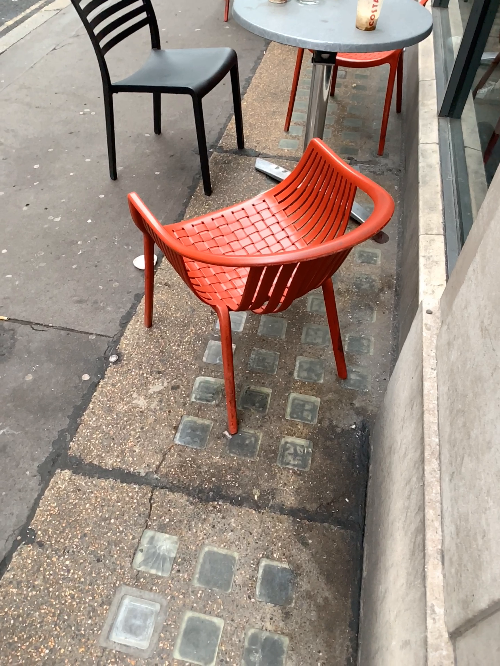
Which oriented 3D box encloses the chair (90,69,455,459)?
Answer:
[{"bbox_3d":[0.018,-0.195,1.394,0.581,0.694,0.614,-23,54,-20],"label":"chair"}]
